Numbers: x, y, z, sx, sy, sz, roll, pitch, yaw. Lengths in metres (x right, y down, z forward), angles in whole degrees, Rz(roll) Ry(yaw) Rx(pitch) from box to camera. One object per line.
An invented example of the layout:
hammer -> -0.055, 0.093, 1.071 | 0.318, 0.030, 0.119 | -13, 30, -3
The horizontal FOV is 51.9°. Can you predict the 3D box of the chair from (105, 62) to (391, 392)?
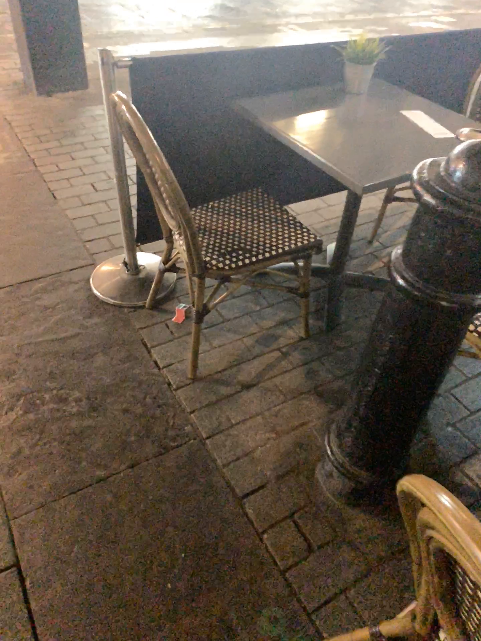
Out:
chair -> -0.016, -0.310, 1.604 | 0.602, 0.792, 0.514 | -19, 47, -24
